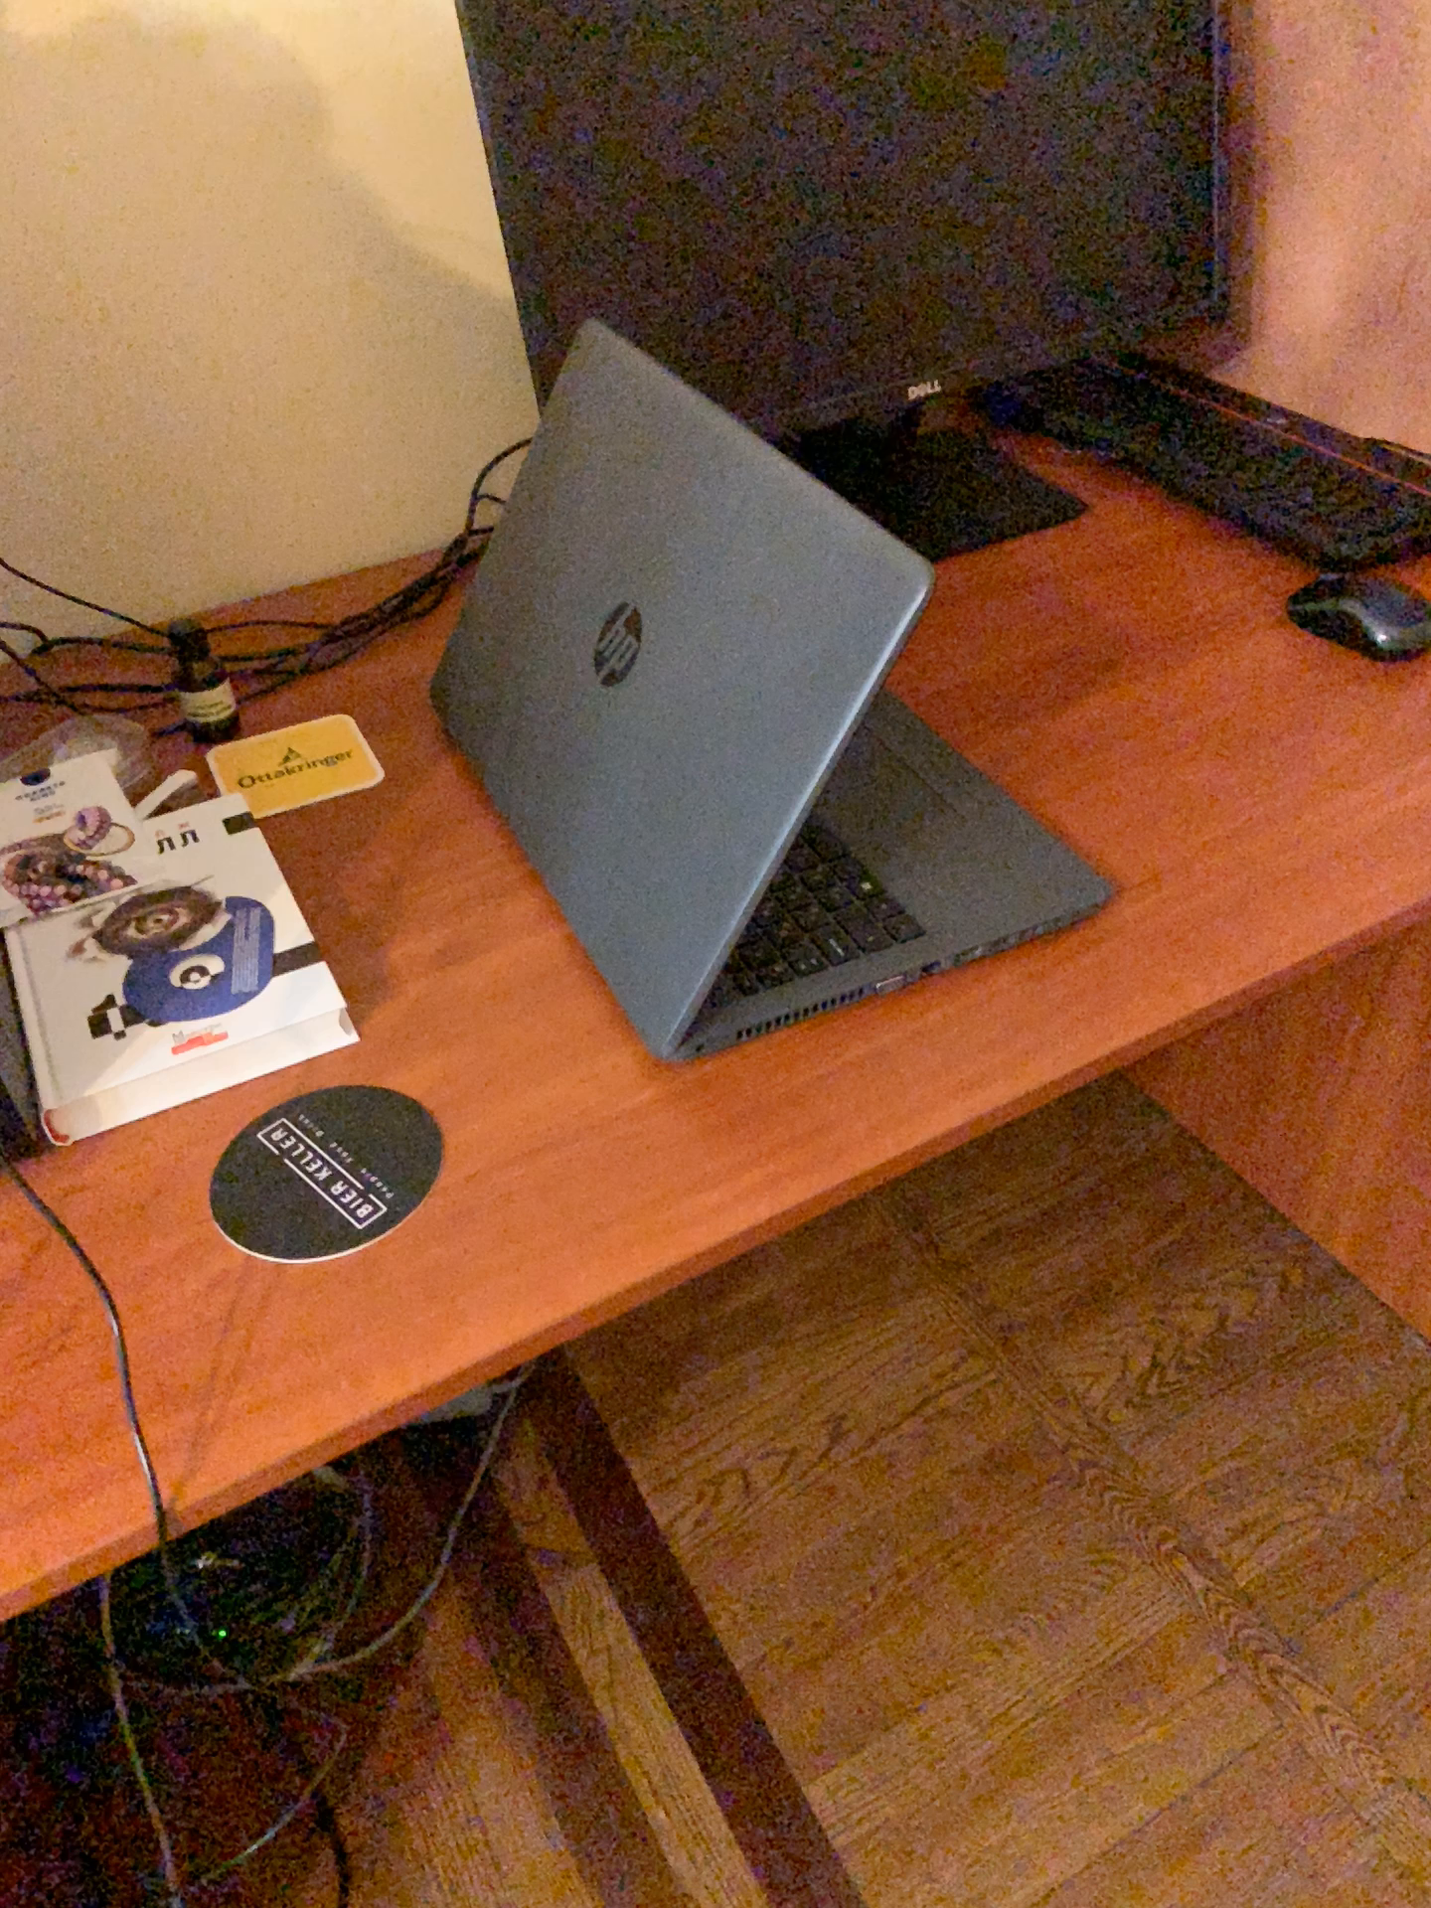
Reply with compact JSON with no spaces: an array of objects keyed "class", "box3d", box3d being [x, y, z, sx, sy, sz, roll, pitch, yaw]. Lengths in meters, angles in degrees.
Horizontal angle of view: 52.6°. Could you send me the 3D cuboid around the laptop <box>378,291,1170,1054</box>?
[{"class":"laptop","box3d":[0.007,-0.179,0.778,0.248,0.207,0.377,-18,42,-17]}]
